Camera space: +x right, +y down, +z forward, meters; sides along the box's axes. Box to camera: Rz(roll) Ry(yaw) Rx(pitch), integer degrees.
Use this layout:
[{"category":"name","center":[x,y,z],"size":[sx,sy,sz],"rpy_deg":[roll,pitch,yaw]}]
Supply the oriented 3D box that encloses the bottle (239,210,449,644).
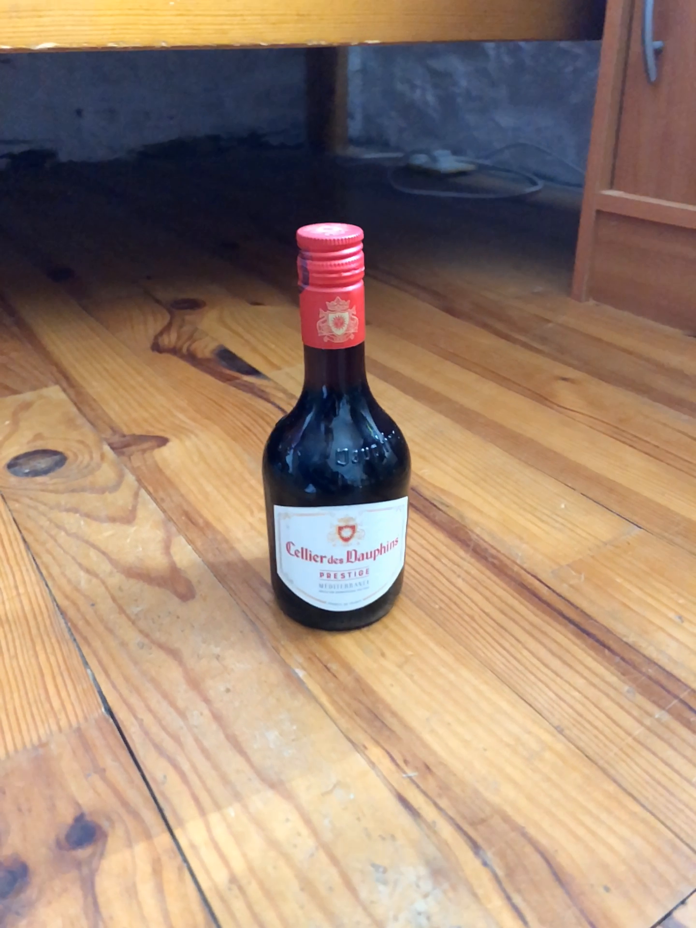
[{"category":"bottle","center":[-0.005,-0.013,0.324],"size":[0.070,0.169,0.060],"rpy_deg":[-4,28,-8]}]
